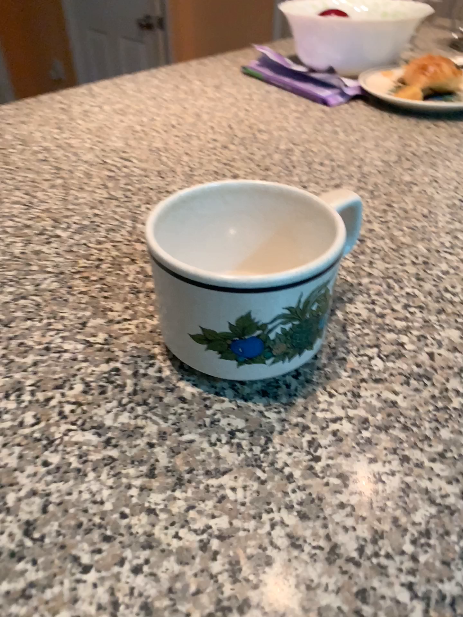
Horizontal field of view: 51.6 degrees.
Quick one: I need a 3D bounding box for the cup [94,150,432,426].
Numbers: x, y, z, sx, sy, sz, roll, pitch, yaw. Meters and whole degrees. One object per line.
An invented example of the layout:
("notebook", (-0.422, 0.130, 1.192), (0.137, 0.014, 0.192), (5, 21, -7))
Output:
("cup", (0.014, -0.020, 0.223), (0.117, 0.054, 0.088), (-27, 47, -29))
